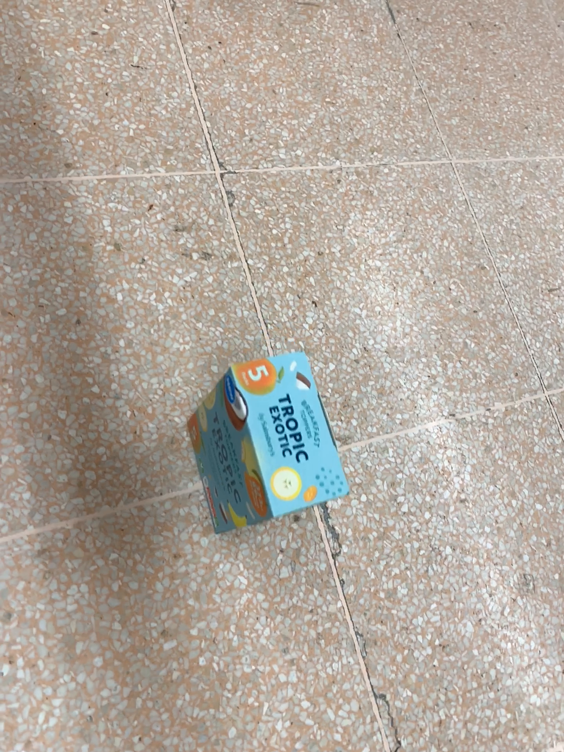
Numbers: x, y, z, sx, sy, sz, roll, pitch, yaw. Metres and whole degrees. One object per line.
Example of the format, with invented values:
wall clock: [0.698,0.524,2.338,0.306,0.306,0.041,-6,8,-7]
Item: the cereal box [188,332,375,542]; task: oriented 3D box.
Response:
cereal box: [-0.011,0.052,0.415,0.060,0.149,0.110,-12,76,-23]
